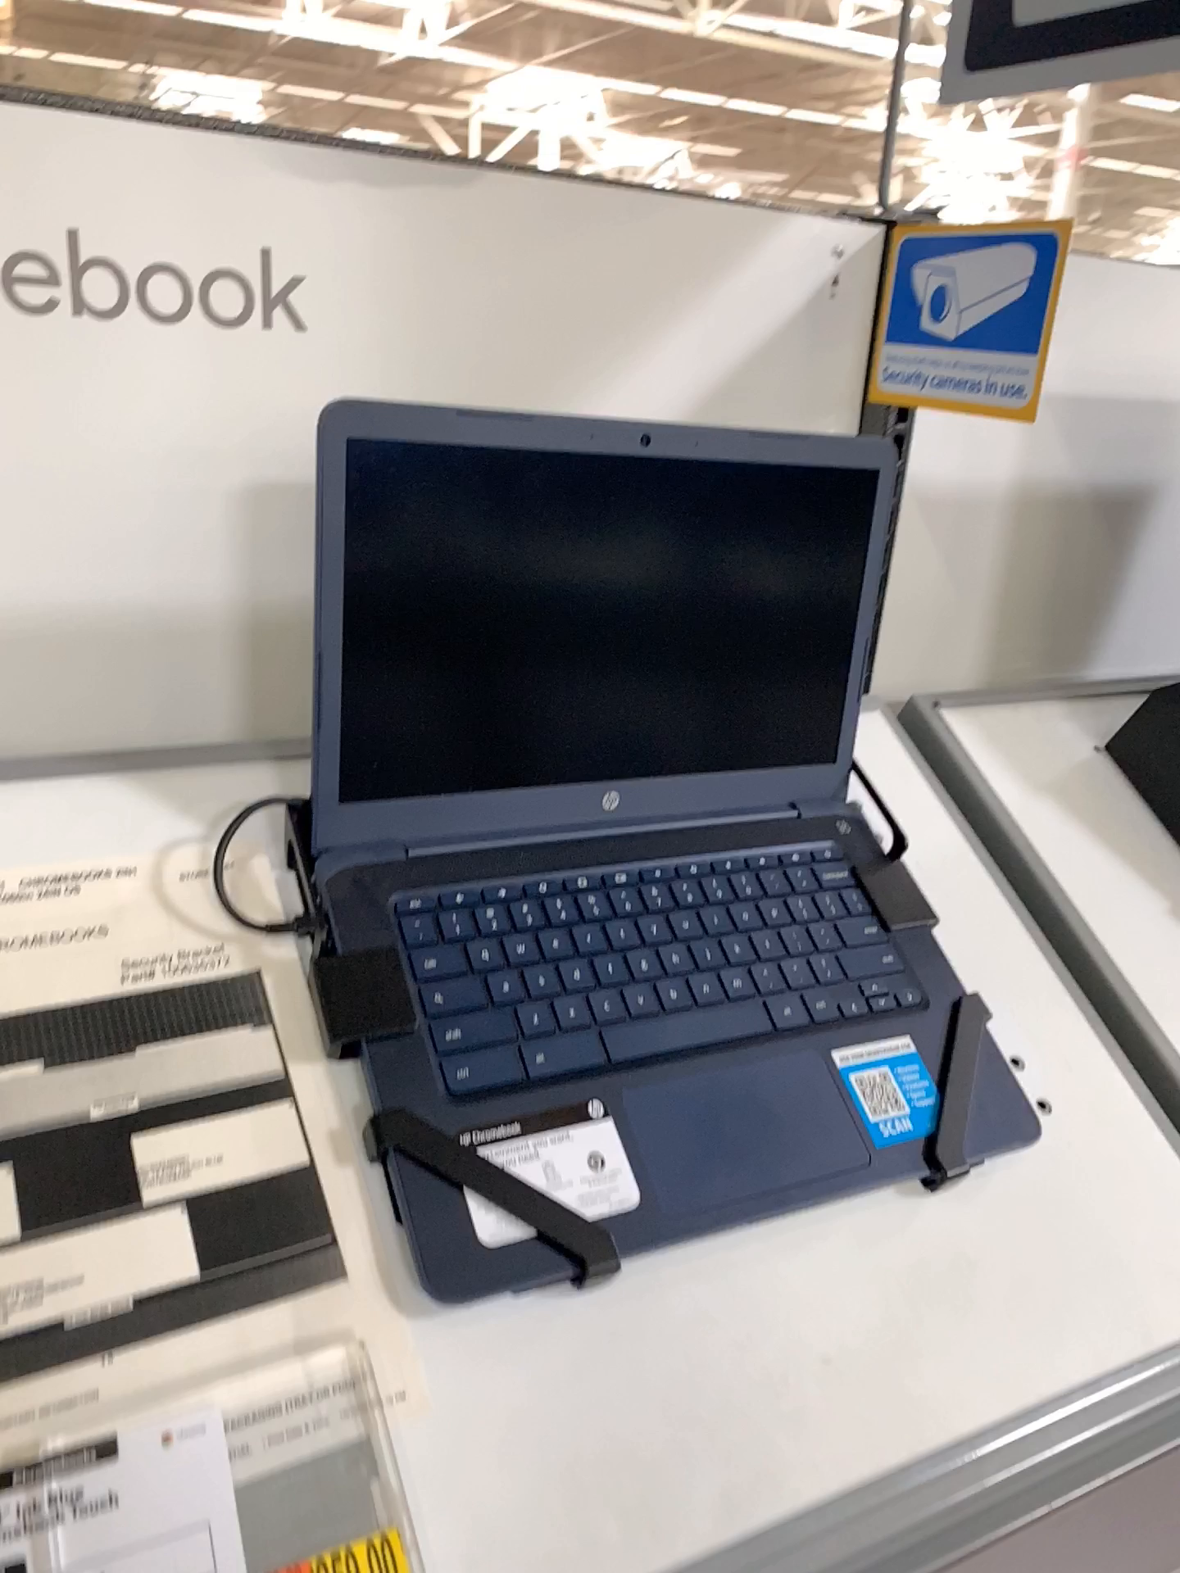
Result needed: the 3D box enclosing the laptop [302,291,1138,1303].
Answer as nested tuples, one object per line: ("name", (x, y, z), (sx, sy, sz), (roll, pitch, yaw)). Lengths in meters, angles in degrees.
("laptop", (0.045, -0.033, 0.599), (0.317, 0.189, 0.324), (-5, 44, -26))
